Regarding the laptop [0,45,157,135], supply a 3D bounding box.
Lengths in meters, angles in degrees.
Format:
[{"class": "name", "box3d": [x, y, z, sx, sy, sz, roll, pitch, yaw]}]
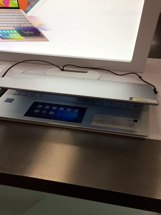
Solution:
[{"class": "laptop", "box3d": [-0.015, -0.057, 0.533, 0.369, 0.099, 0.220, 8, 38, 5]}]
